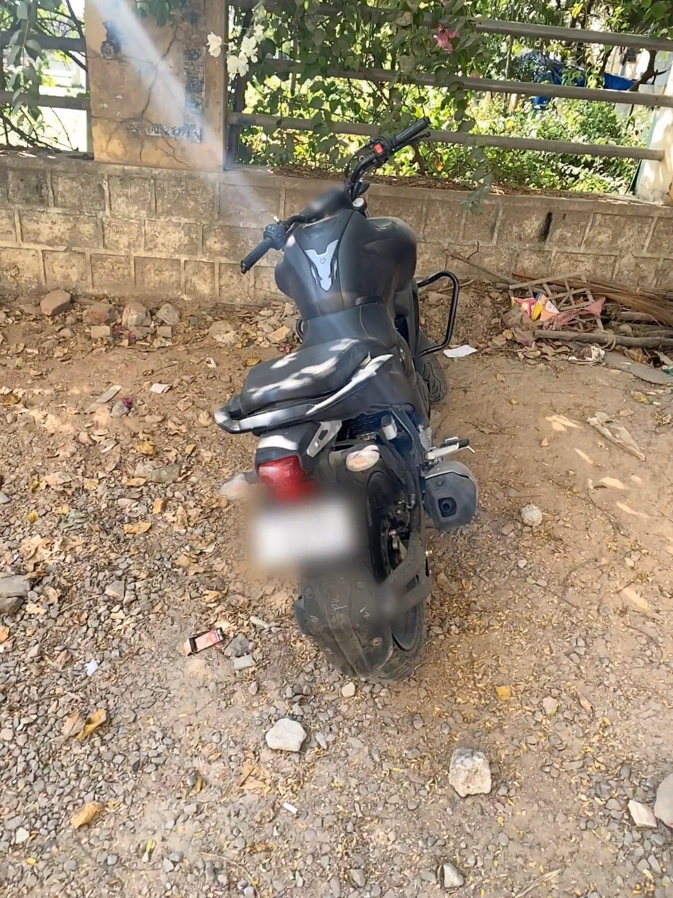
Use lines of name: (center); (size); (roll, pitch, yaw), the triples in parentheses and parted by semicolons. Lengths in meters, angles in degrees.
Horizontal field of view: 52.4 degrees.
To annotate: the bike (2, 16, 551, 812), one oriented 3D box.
bike: (-0.142, -0.324, 2.076); (0.818, 1.498, 1.765); (5, 32, -2)
